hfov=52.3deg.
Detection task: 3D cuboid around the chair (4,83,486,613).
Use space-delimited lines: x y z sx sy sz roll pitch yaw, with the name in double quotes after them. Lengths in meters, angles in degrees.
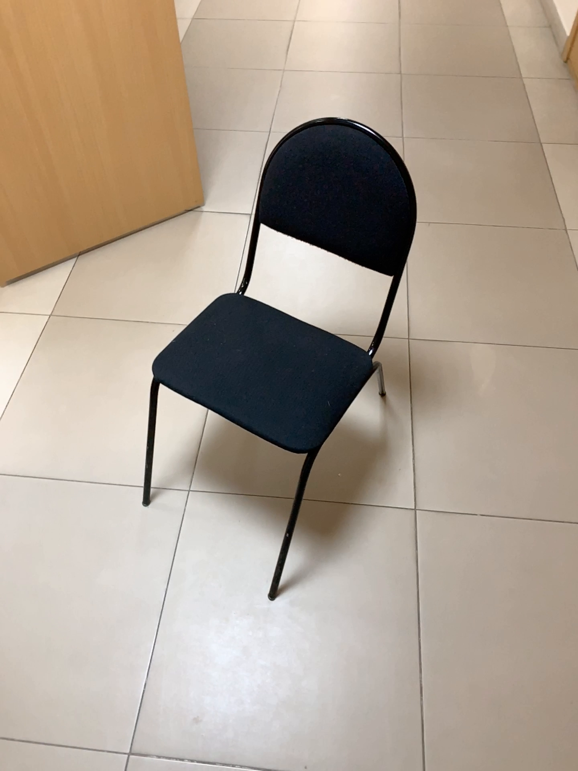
-0.032 -0.062 1.275 0.481 0.774 0.694 27 57 20 "chair"
